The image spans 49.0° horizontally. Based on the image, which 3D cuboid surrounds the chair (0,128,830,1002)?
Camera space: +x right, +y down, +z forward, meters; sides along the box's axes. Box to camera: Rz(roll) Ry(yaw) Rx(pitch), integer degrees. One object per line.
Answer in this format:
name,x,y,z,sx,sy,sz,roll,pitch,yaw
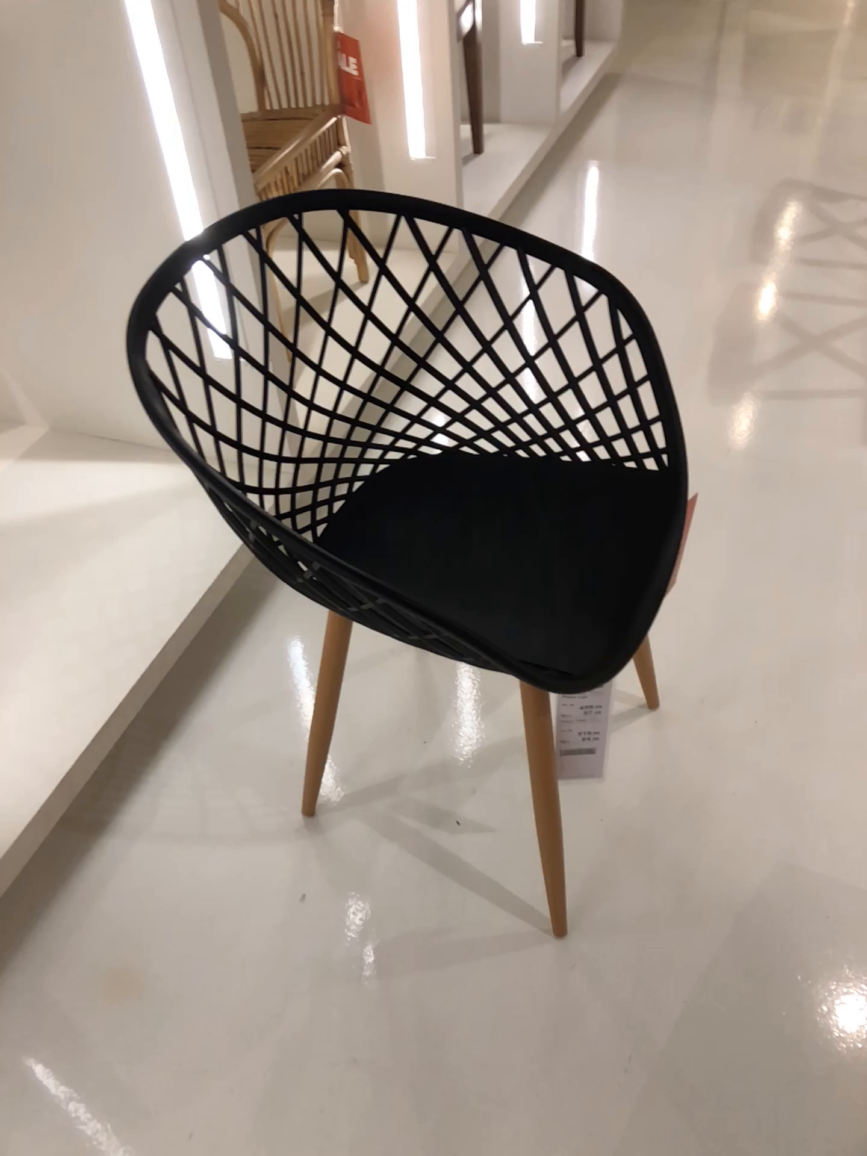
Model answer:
chair,0.041,-0.048,1.156,0.600,0.705,0.624,16,47,21
